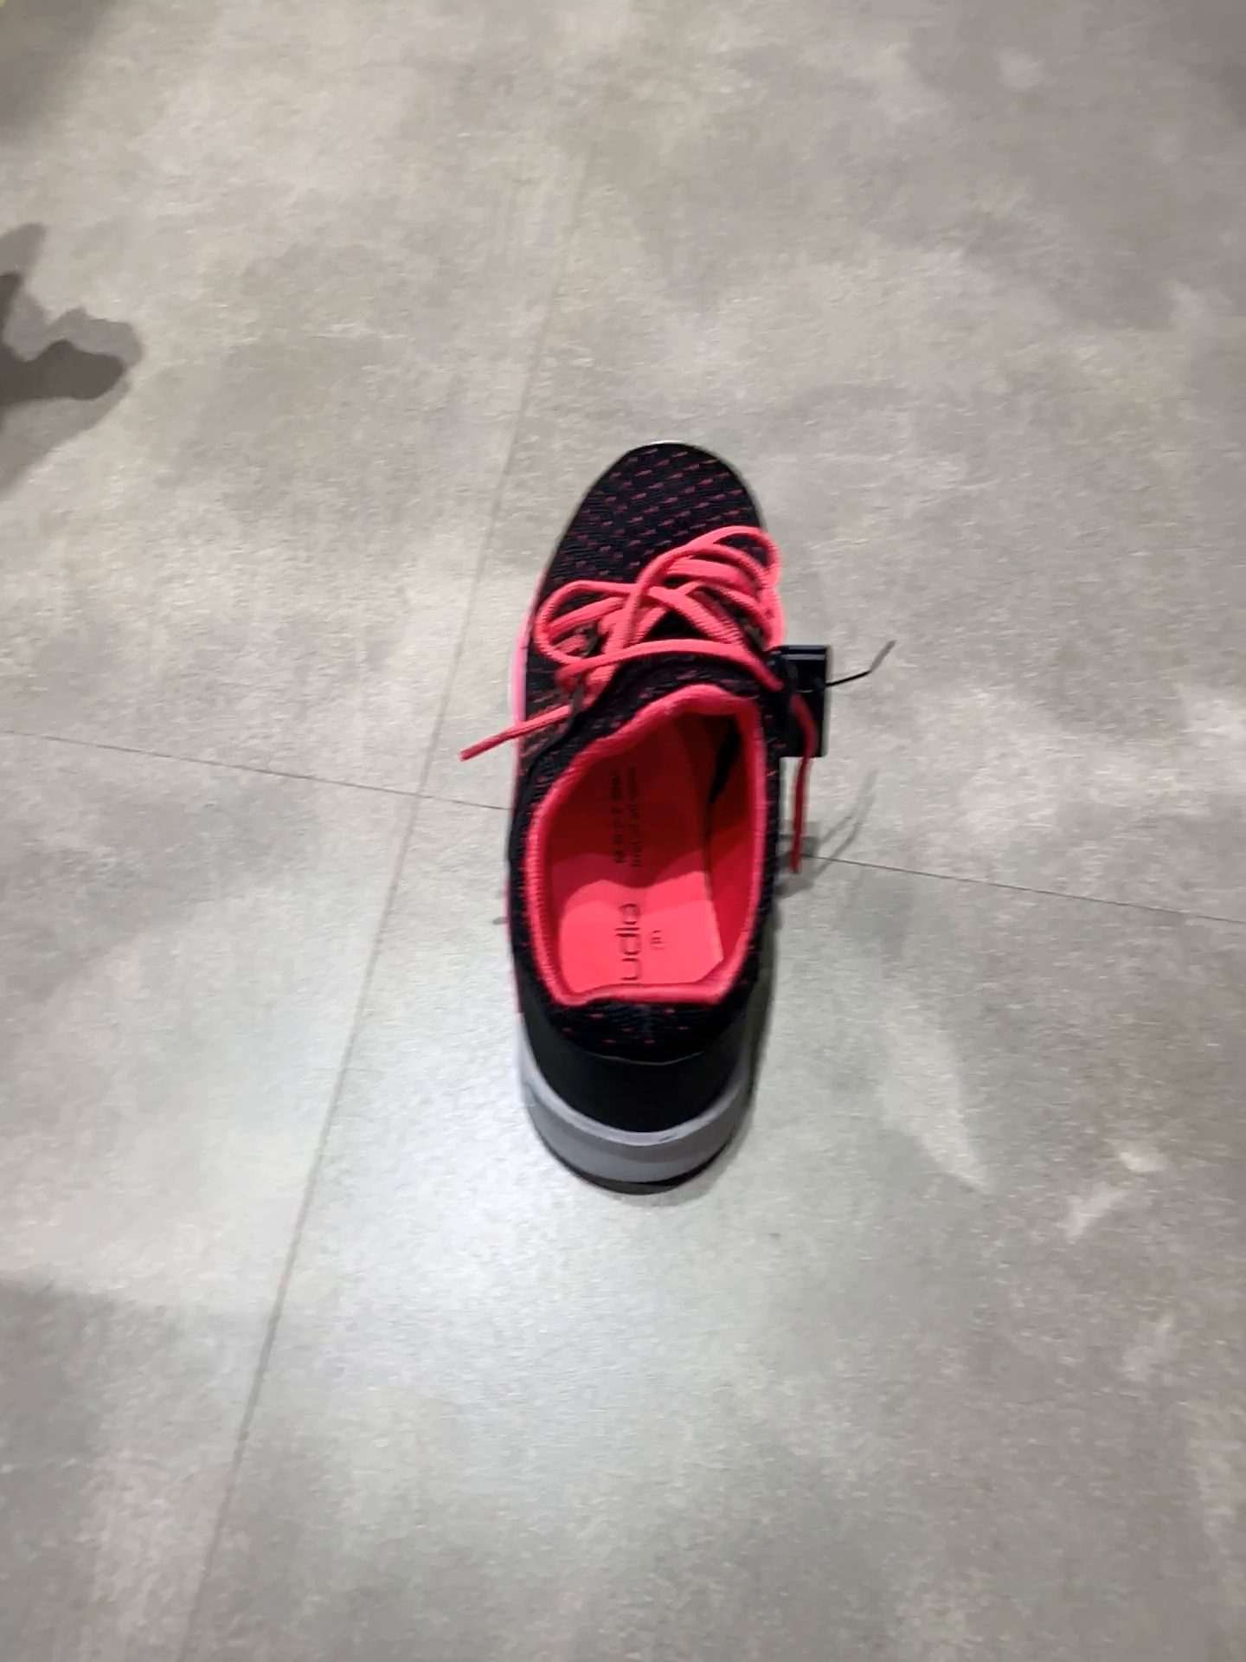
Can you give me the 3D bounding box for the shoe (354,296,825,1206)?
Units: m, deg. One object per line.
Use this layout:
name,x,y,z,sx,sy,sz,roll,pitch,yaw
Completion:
shoe,-0.001,-0.029,0.404,0.110,0.110,0.263,3,63,1
